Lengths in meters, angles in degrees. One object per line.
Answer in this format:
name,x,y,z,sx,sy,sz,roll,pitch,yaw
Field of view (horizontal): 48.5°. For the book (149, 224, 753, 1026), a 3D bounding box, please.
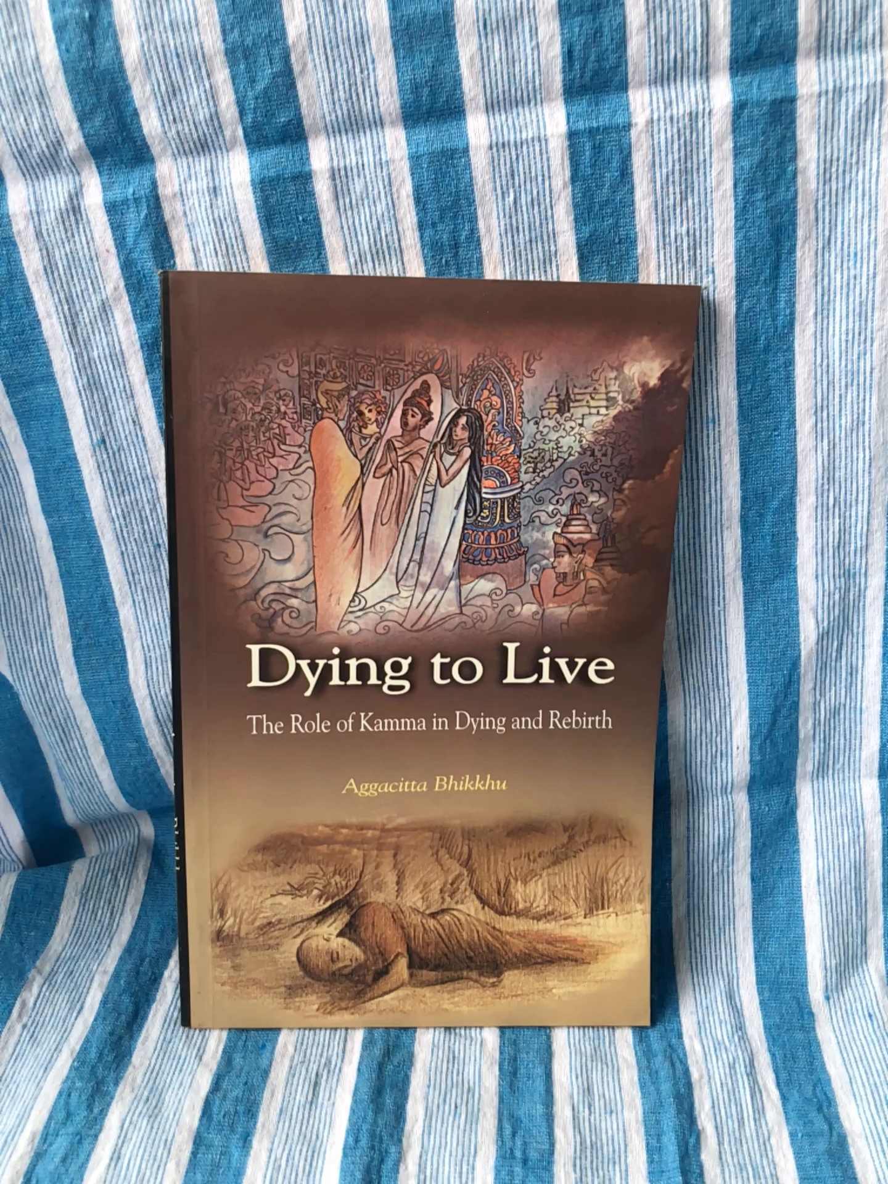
book,0.000,0.015,0.272,0.150,0.210,0.020,2,6,-5
